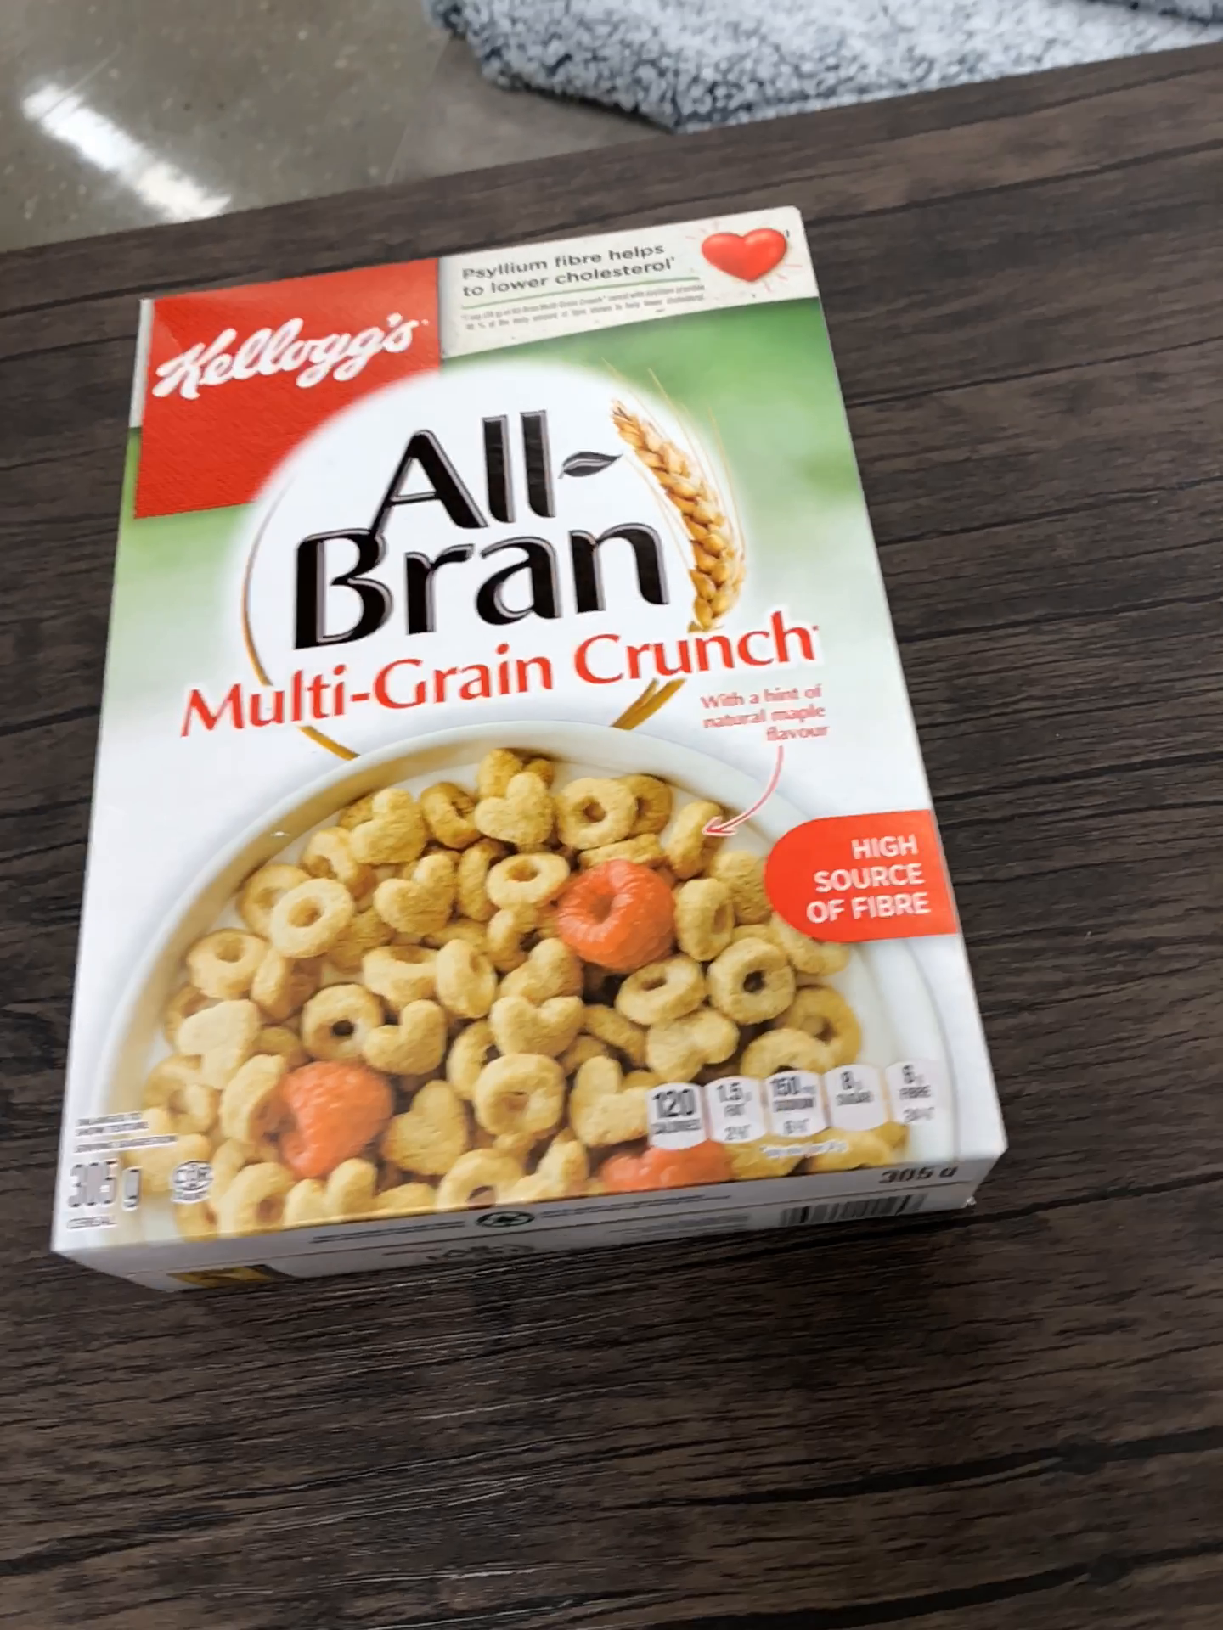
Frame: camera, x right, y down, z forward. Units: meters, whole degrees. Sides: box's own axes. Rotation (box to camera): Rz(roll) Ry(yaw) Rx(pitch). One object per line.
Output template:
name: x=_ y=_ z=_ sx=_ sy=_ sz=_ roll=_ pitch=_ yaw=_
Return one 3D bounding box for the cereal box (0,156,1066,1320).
cereal box: x=-0.026 y=-0.037 z=0.369 sx=0.210 sy=0.070 sz=0.300 roll=-7 pitch=61 yaw=3
